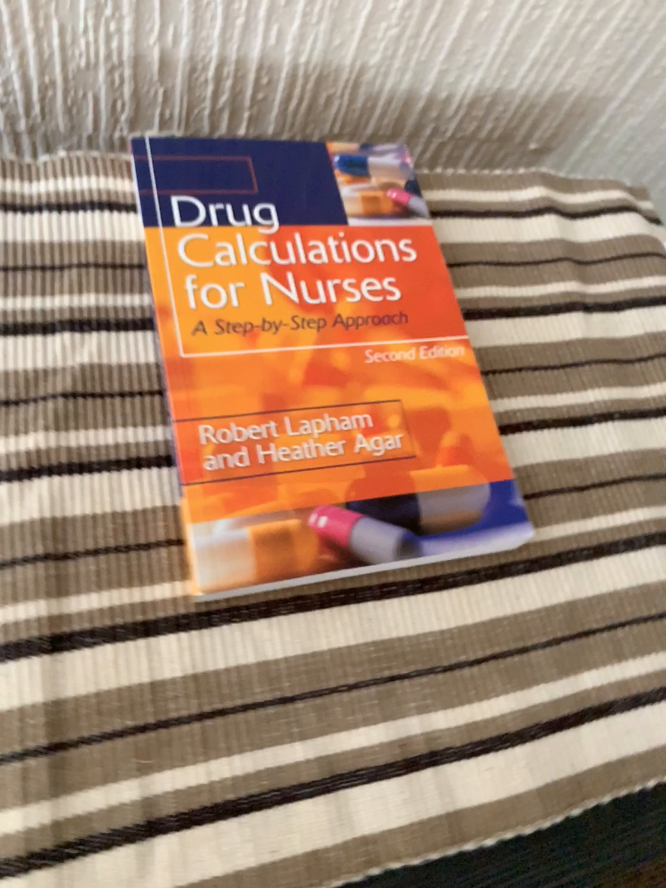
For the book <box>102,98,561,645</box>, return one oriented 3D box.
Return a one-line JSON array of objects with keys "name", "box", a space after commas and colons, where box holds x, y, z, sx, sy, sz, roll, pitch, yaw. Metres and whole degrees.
[{"name": "book", "box": [-0.008, -0.046, 0.280, 0.140, 0.020, 0.221, -6, 68, -19]}]
